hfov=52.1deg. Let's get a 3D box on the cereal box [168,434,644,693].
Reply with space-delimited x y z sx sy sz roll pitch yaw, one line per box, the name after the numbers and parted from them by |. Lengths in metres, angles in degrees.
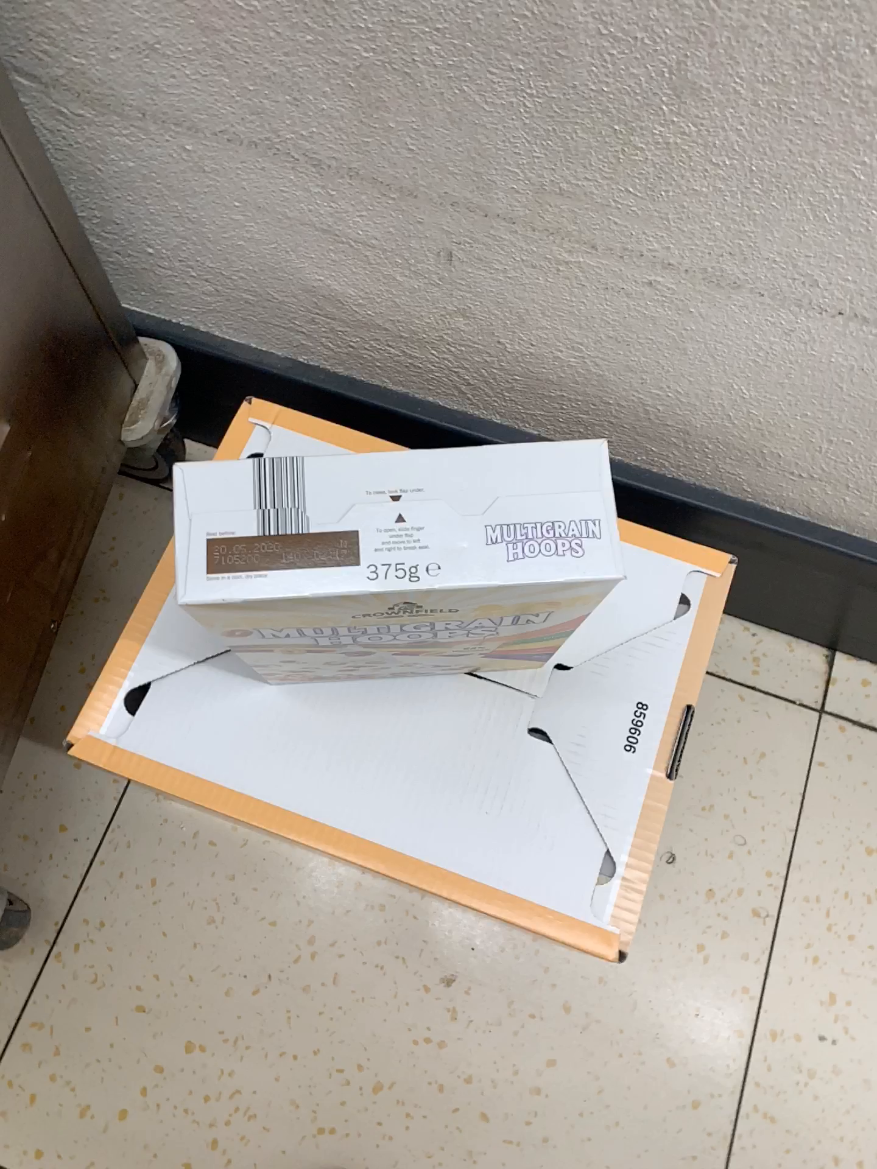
-0.019 0.004 0.506 0.200 0.249 0.070 -4 76 -3 | cereal box
